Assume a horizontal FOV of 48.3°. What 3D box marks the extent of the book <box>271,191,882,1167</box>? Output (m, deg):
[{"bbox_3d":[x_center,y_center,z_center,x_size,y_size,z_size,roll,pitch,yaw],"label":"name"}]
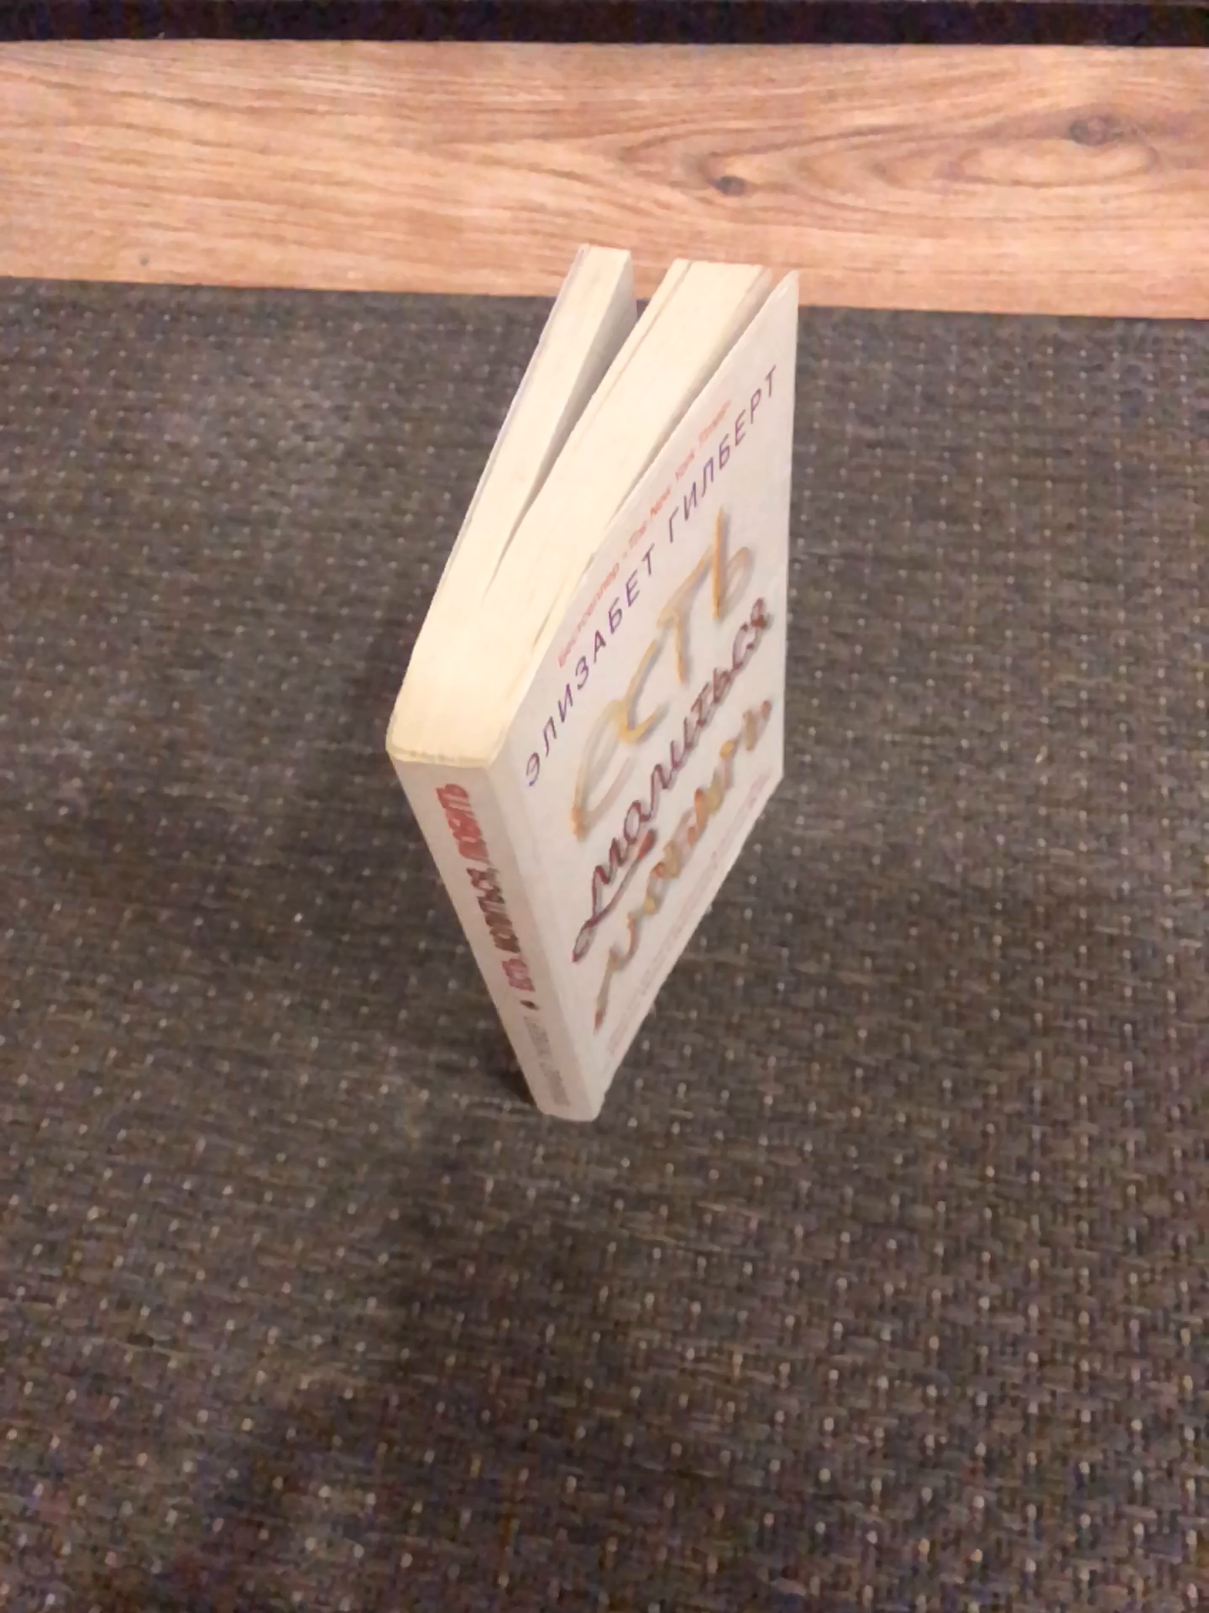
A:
[{"bbox_3d":[0.006,-0.018,0.370,0.068,0.214,0.161,19,62,14],"label":"book"}]
